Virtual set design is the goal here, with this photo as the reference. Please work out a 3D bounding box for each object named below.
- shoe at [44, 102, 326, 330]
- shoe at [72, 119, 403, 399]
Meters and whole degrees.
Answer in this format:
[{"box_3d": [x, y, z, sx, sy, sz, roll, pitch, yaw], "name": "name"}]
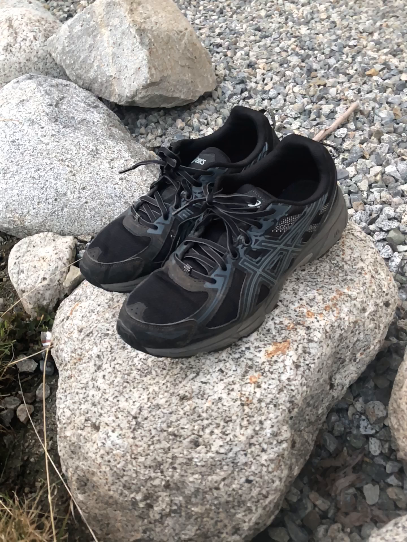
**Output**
[{"box_3d": [-0.008, -0.076, 0.497, 0.281, 0.099, 0.121, -33, 52, -25], "name": "shoe"}, {"box_3d": [0.043, -0.031, 0.431, 0.291, 0.099, 0.121, -33, 52, -25], "name": "shoe"}]
